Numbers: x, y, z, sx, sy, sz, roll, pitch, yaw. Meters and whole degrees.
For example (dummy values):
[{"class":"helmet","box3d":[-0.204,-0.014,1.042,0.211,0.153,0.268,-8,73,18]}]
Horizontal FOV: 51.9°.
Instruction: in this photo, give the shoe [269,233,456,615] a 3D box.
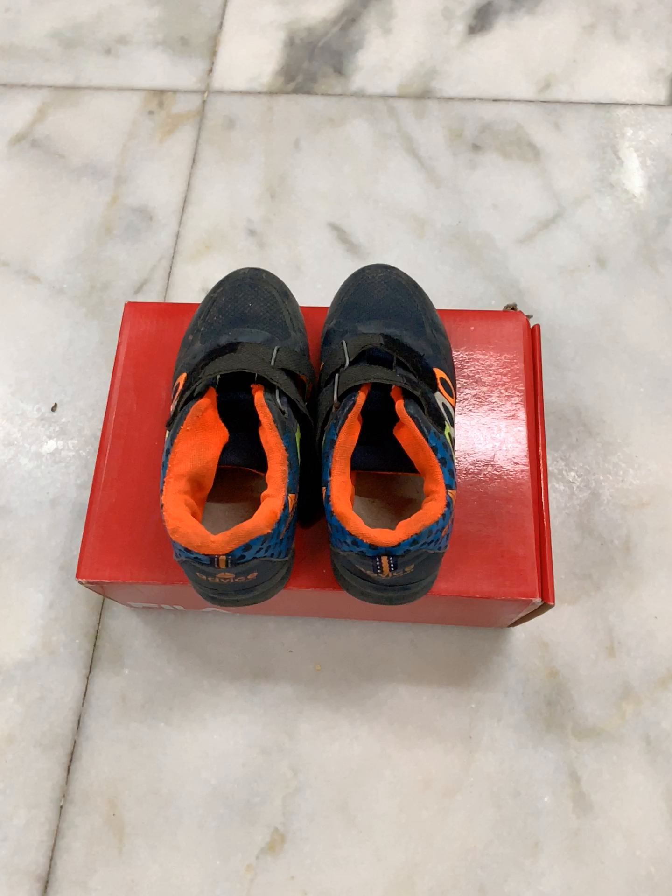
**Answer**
[{"class":"shoe","box3d":[0.016,-0.015,0.415,0.090,0.090,0.211,0,67,2]}]

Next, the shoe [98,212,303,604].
[{"class":"shoe","box3d":[-0.067,-0.025,0.397,0.080,0.080,0.211,1,67,2]}]
